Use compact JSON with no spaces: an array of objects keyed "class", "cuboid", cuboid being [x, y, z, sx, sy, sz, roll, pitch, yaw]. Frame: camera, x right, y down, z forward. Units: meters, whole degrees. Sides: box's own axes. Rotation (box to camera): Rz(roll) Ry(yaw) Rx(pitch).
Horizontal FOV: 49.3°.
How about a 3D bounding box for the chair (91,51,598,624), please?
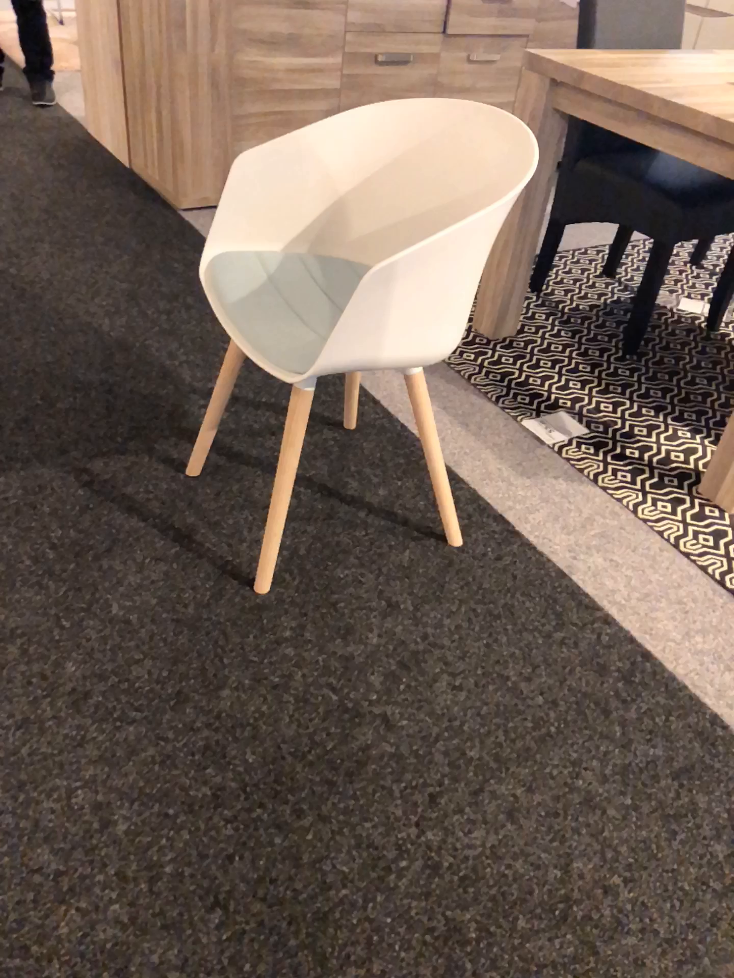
[{"class":"chair","cuboid":[-0.090,-0.297,1.440,0.582,0.765,0.551,-14,42,-26]}]
